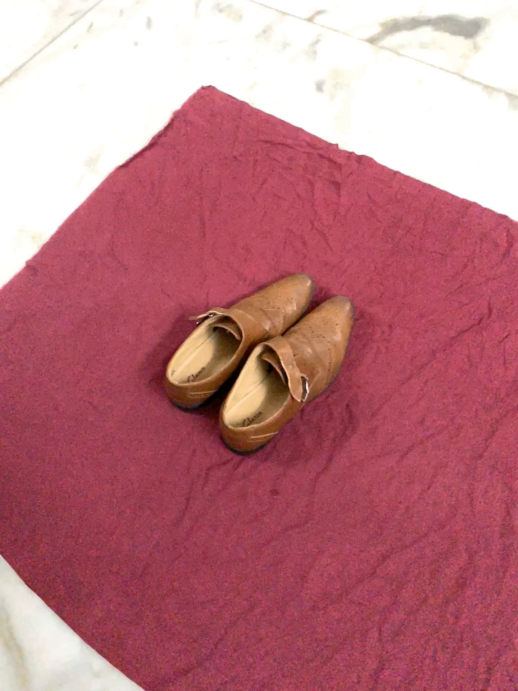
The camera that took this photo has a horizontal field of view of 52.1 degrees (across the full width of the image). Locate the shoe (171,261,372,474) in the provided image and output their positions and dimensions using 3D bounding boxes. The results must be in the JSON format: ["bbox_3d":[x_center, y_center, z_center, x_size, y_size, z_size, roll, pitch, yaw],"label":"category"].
[{"bbox_3d":[0.025,0.027,0.760,0.100,0.090,0.301,38,71,20],"label":"shoe"}]

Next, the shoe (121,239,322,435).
[{"bbox_3d":[-0.048,-0.017,0.814,0.311,0.090,0.100,-42,68,-17],"label":"shoe"}]
